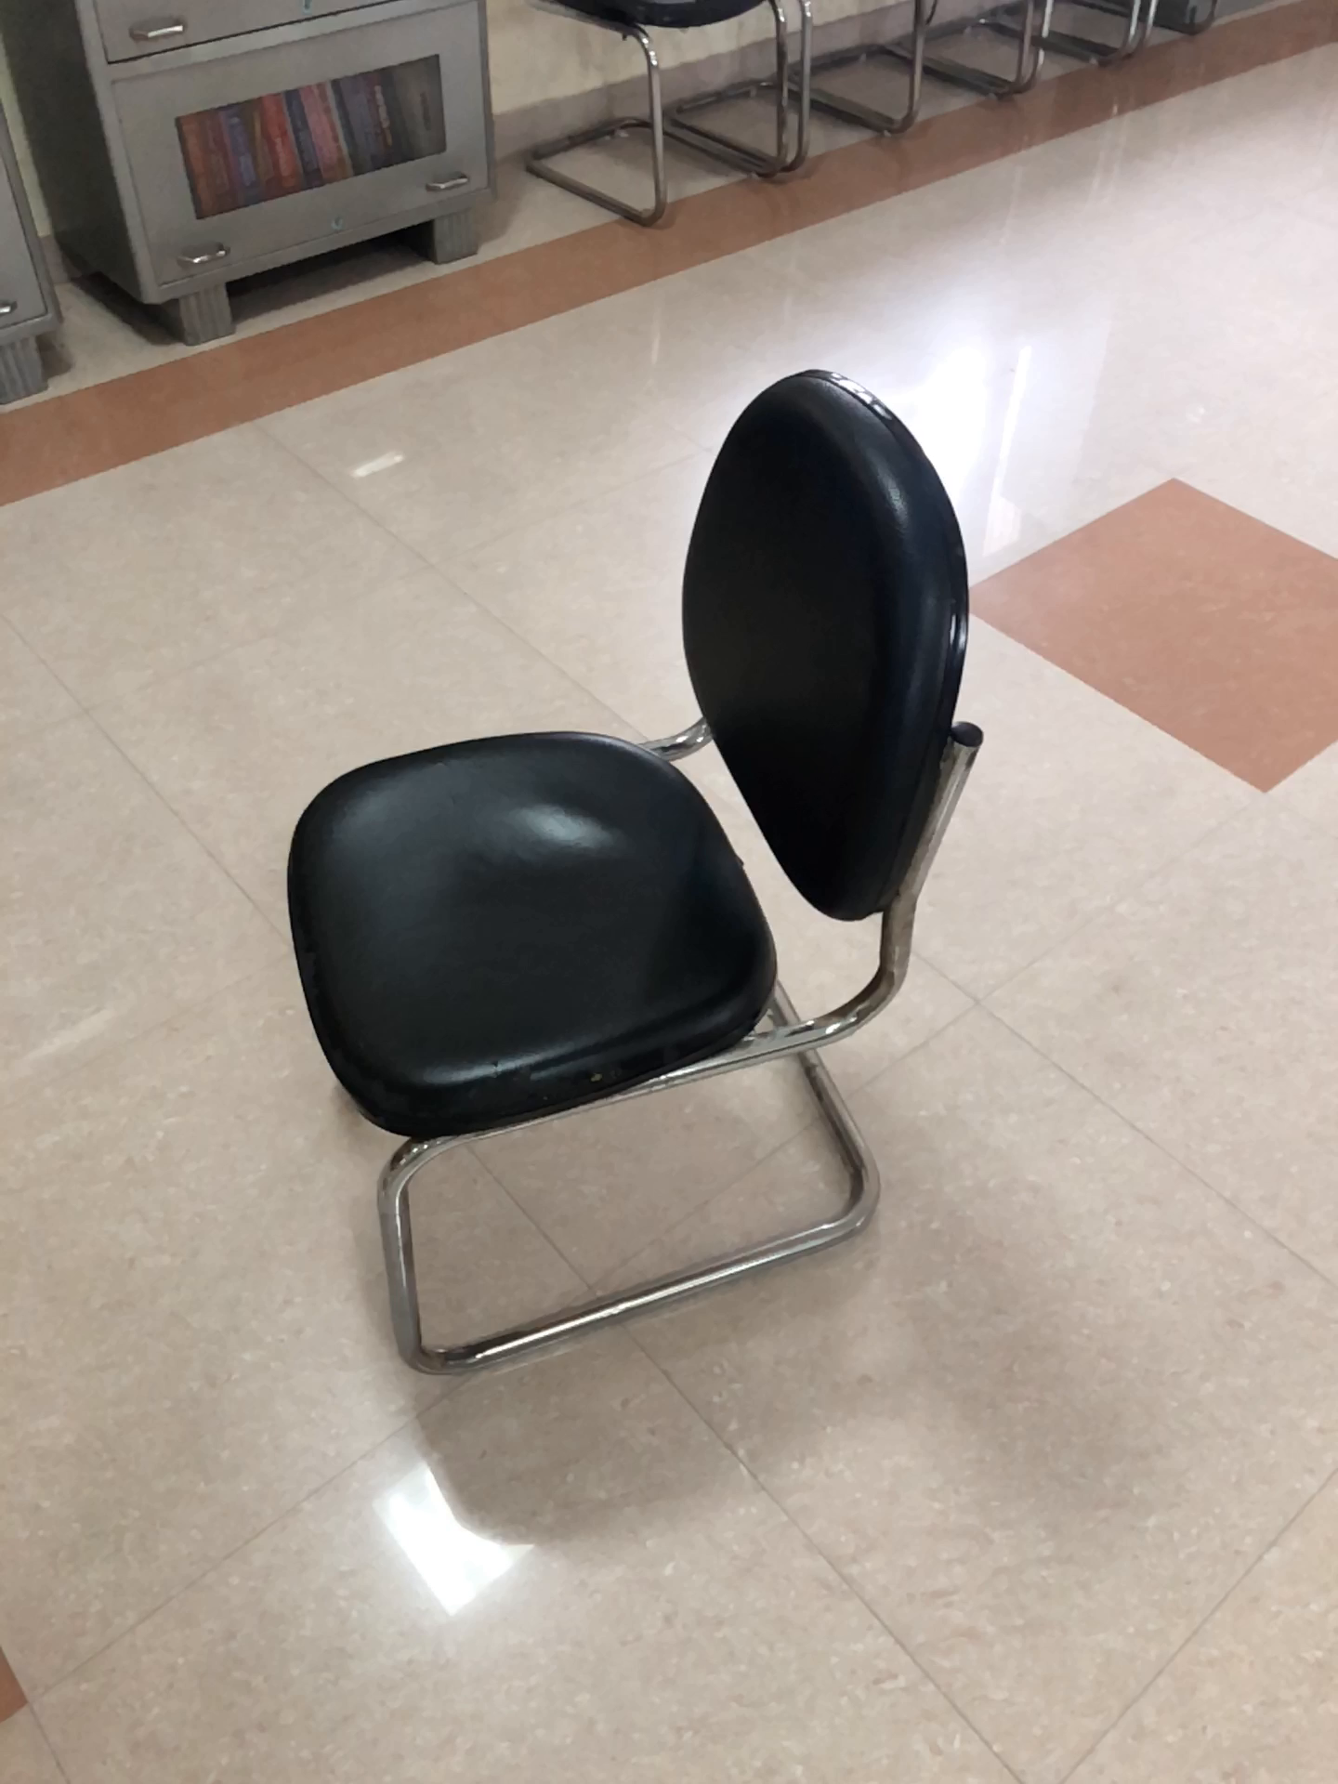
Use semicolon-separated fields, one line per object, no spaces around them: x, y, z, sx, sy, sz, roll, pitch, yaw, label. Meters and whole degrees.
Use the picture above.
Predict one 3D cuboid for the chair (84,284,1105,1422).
-0.089;-0.021;1.310;0.590;0.758;0.501;-14;48;-14;chair
